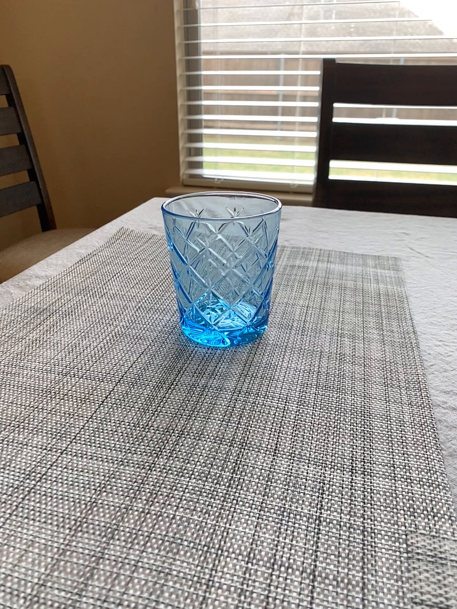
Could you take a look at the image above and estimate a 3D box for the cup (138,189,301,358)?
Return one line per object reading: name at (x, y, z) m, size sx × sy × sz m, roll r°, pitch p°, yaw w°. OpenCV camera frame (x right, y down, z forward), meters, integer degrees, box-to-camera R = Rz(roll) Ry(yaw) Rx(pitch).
cup at (-0.002, -0.029, 0.343) m, size 0.087 × 0.085 × 0.093 m, roll 0°, pitch 25°, yaw 0°
